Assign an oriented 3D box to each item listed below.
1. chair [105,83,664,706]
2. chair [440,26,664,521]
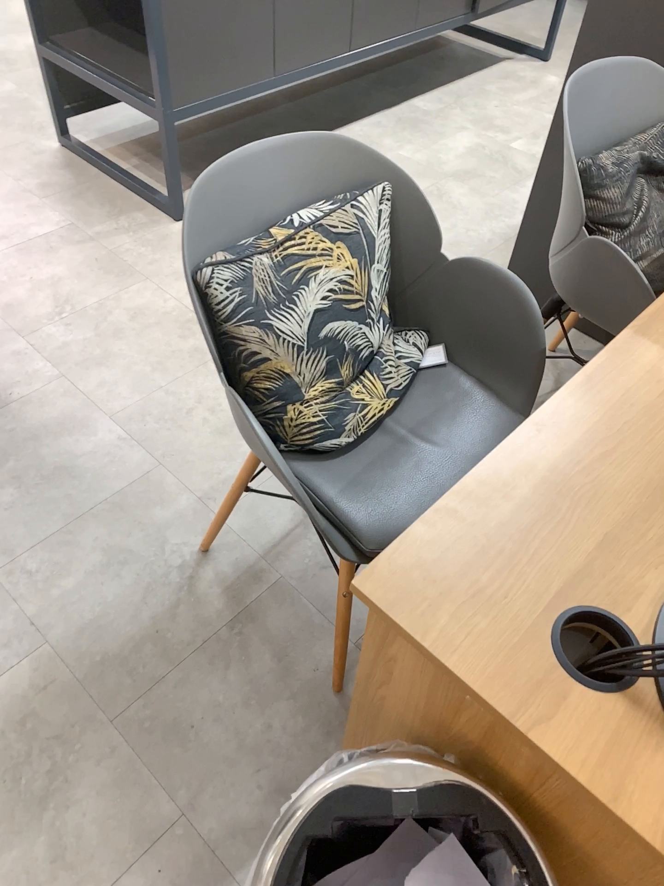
[{"bbox_3d":[0.072,-0.076,1.241,0.600,0.809,0.549,-35,59,-30],"label":"chair"},{"bbox_3d":[0.721,-0.383,1.574,0.590,0.809,0.549,-35,59,-30],"label":"chair"}]
